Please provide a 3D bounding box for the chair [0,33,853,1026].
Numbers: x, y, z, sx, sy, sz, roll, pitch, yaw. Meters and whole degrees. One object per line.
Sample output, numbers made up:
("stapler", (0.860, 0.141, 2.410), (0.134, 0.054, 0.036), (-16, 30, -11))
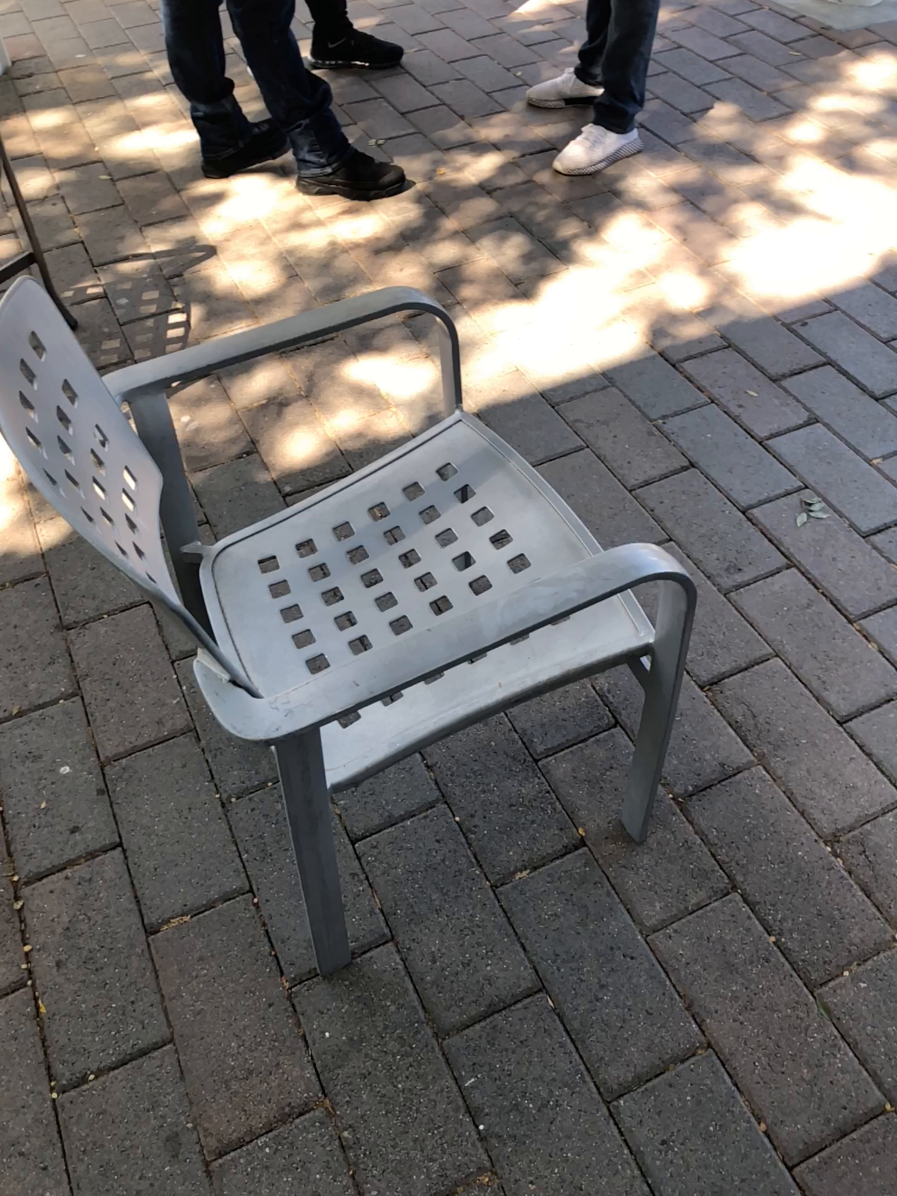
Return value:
("chair", (-0.070, -0.068, 1.148), (0.590, 0.777, 0.633), (-24, 50, -14))
